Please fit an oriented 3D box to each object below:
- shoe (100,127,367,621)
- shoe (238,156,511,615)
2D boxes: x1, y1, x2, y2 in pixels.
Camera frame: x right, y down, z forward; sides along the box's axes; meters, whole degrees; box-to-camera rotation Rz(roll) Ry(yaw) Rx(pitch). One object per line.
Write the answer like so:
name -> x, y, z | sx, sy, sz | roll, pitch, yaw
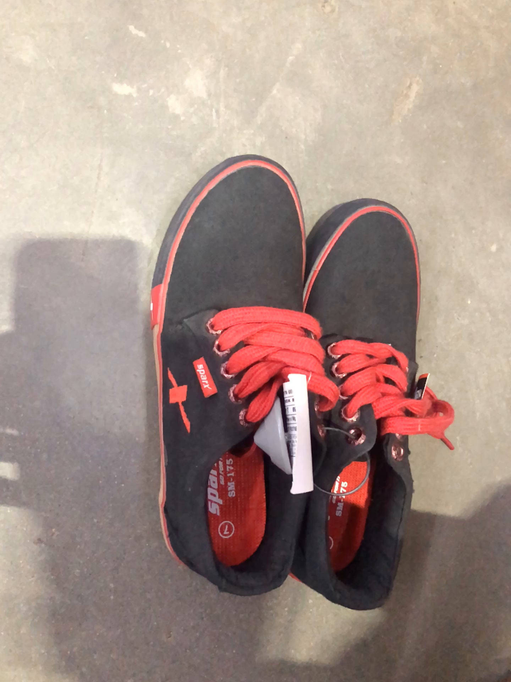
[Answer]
shoe -> -0.017, 0.018, 0.353 | 0.100, 0.100, 0.250 | 7, 90, -33
shoe -> 0.074, 0.028, 0.371 | 0.100, 0.100, 0.250 | 12, 88, -18
